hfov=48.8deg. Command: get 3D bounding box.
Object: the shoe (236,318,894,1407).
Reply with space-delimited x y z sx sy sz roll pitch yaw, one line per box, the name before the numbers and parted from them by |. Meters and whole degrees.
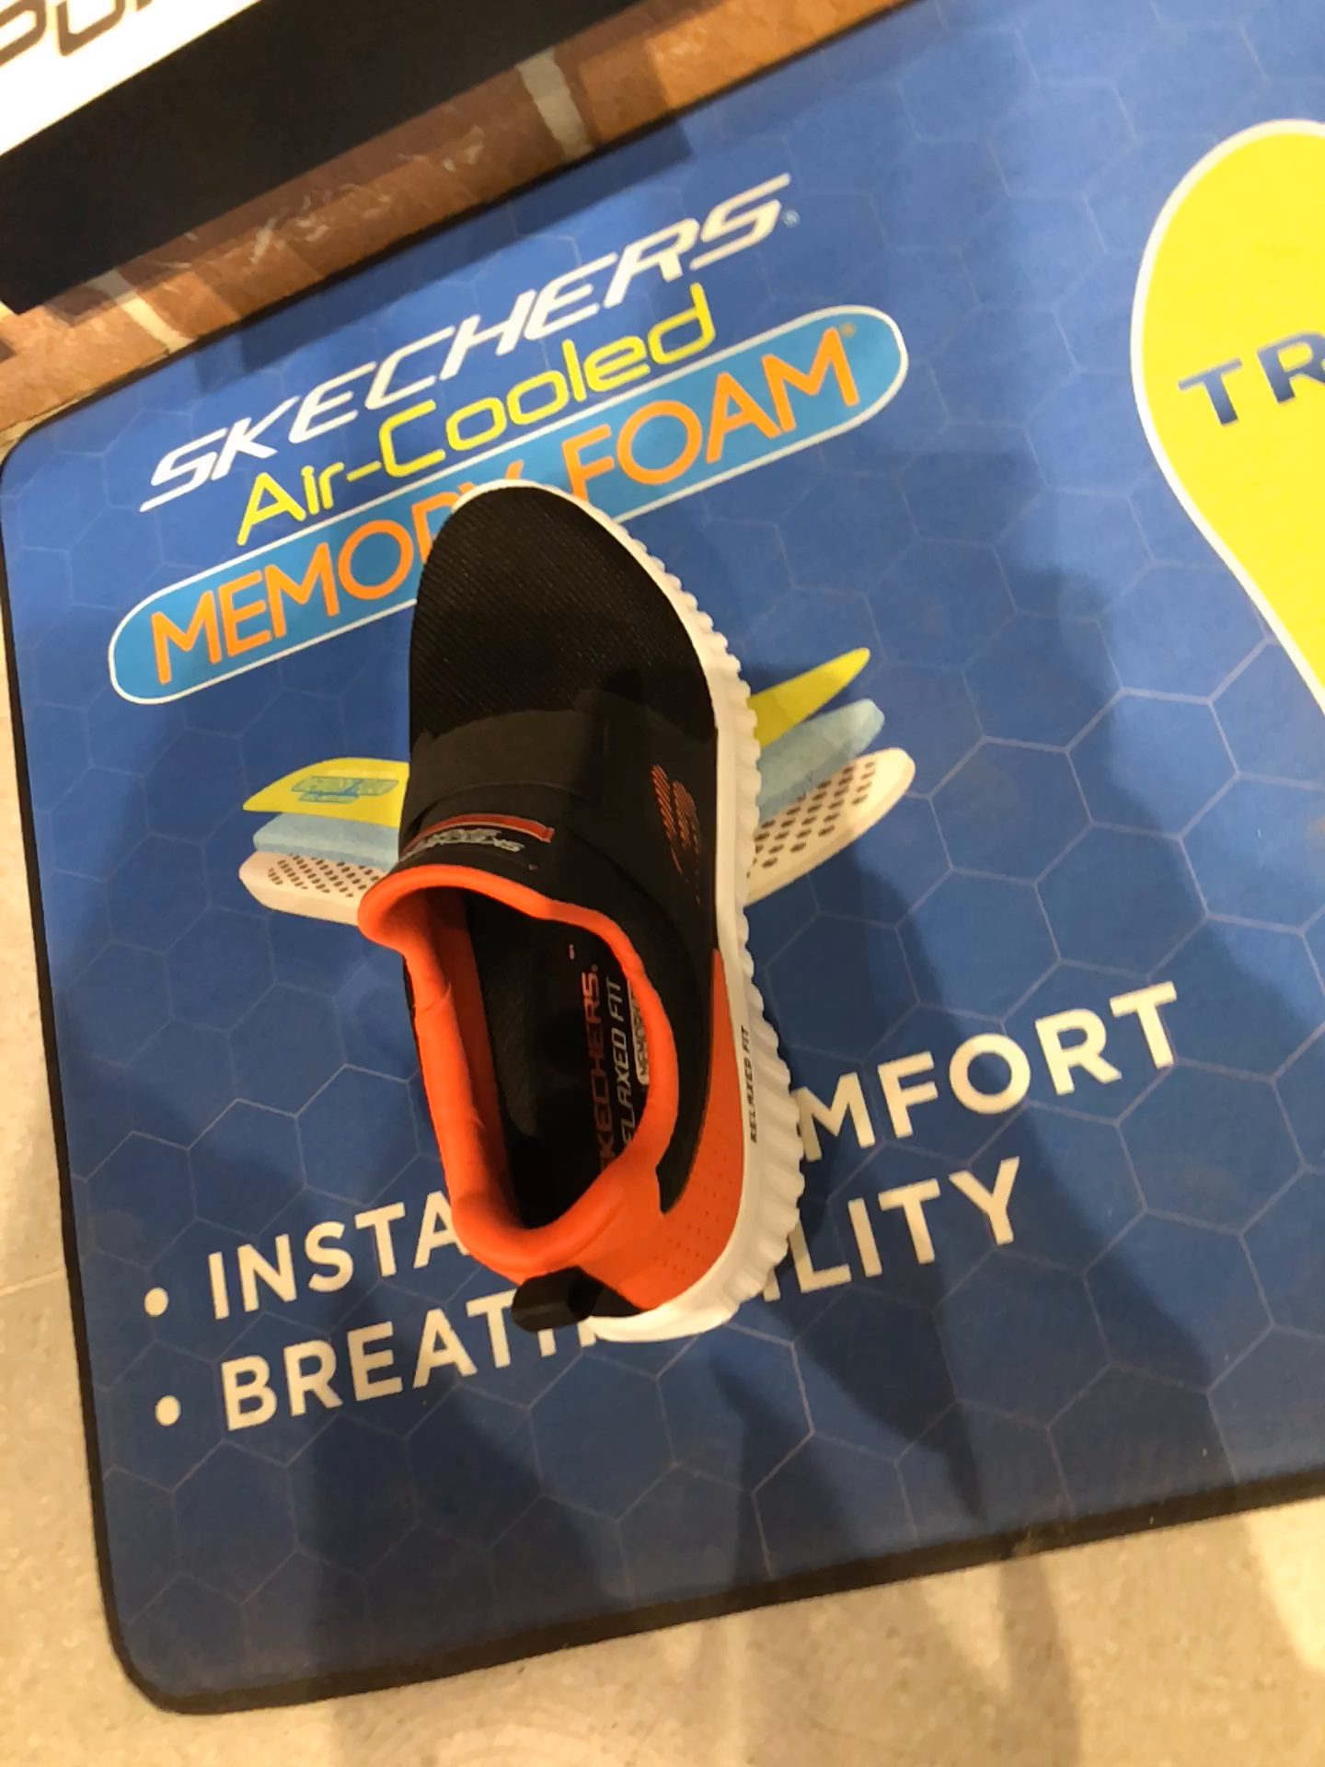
shoe | -0.029 0.000 0.448 0.116 0.136 0.276 -16 71 15
